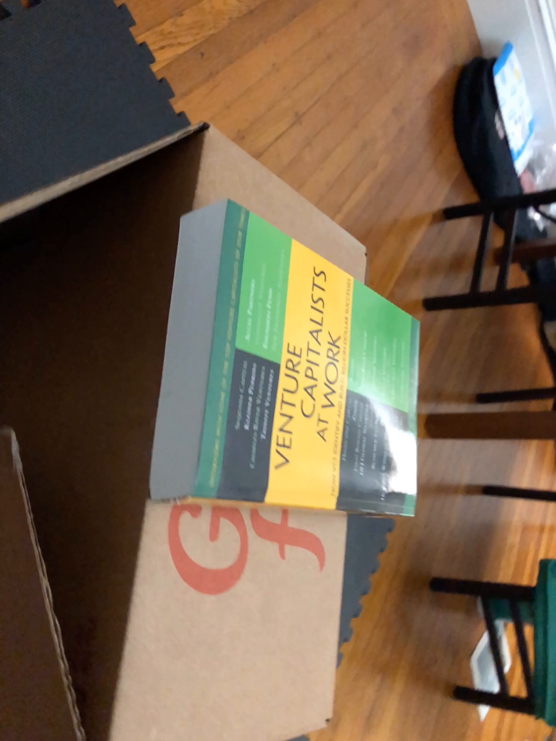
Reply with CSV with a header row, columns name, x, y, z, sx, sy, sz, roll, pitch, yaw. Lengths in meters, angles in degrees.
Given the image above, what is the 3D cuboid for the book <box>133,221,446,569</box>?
name,x,y,z,sx,sy,sz,roll,pitch,yaw
book,0.034,0.036,0.391,0.261,0.040,0.160,20,71,-50
